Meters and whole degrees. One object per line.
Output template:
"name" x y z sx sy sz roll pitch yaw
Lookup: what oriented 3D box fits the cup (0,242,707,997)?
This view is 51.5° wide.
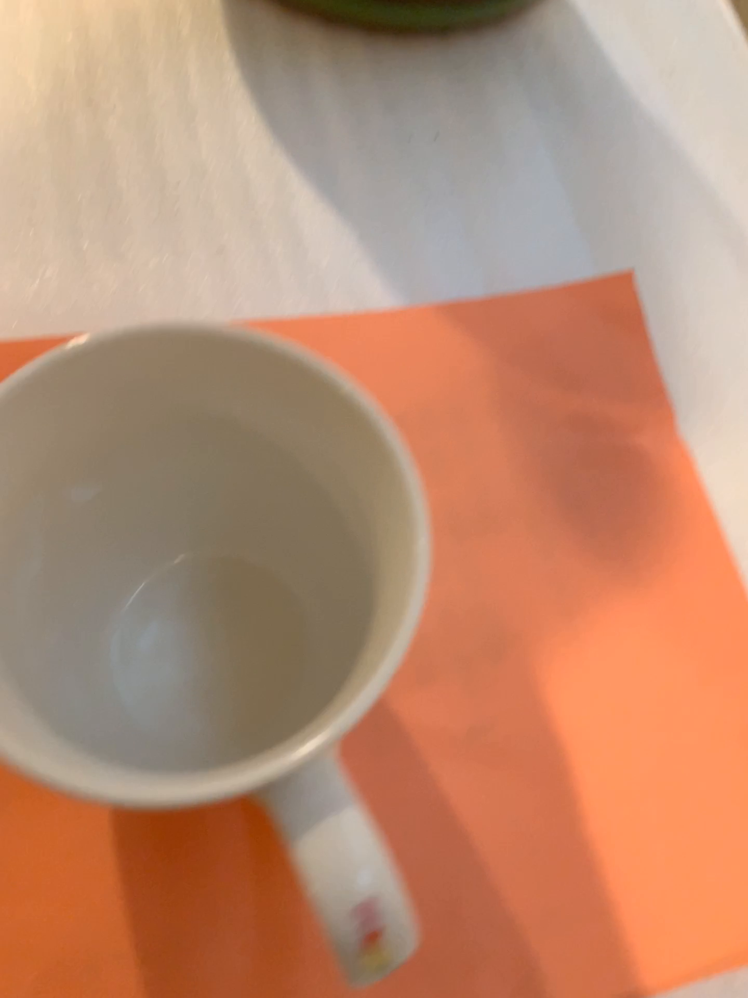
"cup" -0.019 0.031 0.172 0.090 0.089 0.120 -24 73 -18
